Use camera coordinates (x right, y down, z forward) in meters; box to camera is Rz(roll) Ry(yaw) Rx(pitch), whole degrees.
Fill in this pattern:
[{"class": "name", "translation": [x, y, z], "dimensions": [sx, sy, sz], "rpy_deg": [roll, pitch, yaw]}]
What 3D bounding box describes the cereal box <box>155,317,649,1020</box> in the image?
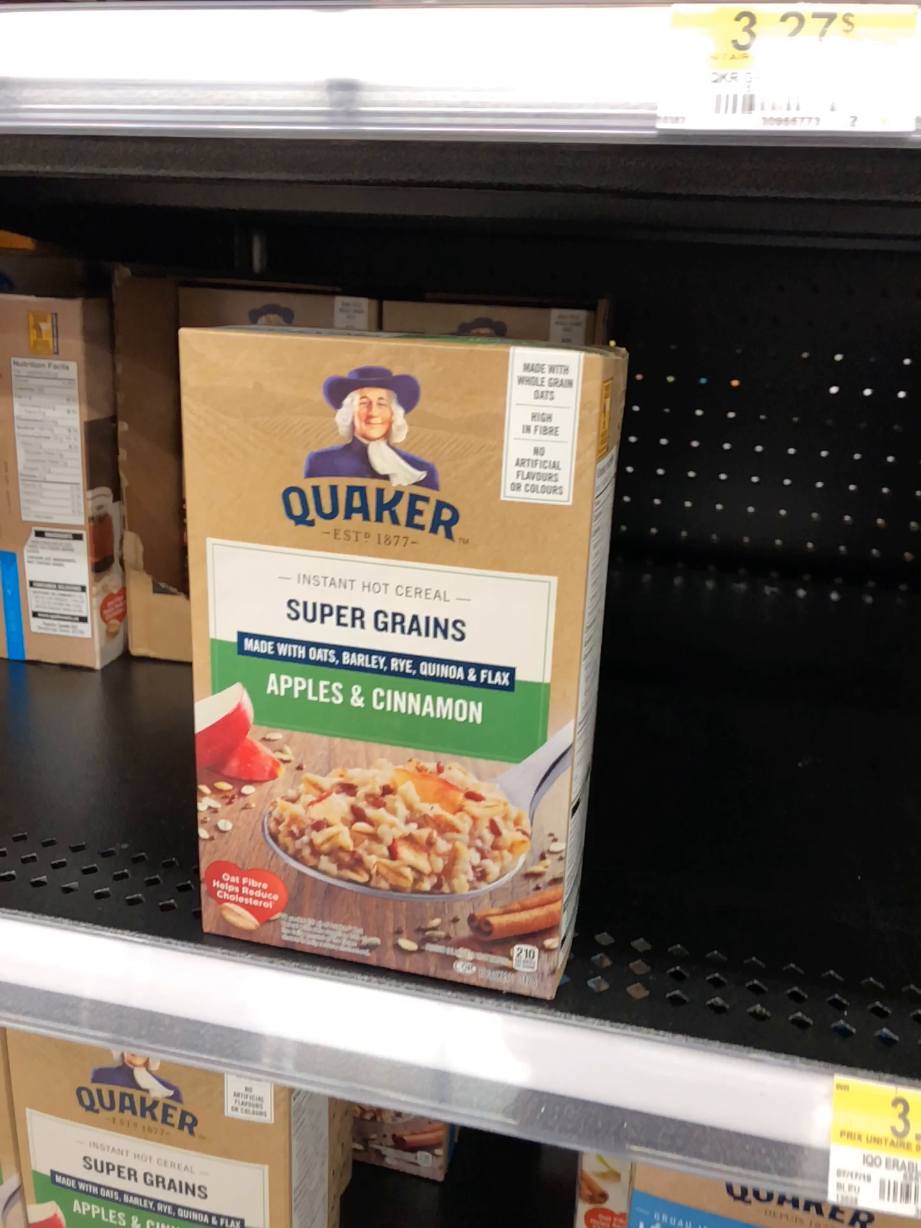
[{"class": "cereal box", "translation": [-0.018, 0.014, 0.324], "dimensions": [0.130, 0.199, 0.060], "rpy_deg": [7, 19, 12]}]
